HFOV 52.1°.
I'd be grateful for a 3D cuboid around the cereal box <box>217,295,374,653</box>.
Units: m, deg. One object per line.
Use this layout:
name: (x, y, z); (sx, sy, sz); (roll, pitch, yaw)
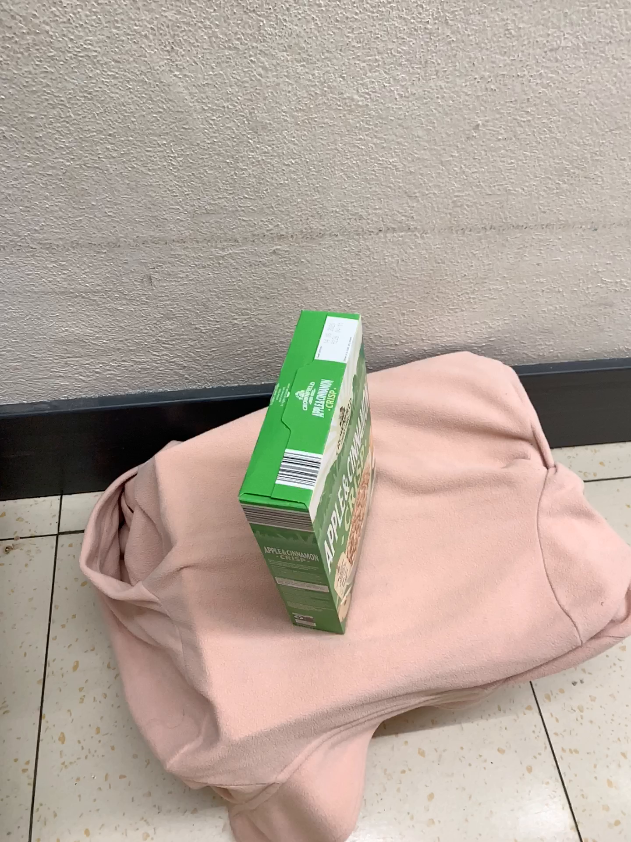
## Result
cereal box: (0.001, 0.057, 0.553); (0.060, 0.258, 0.191); (8, 55, 12)
